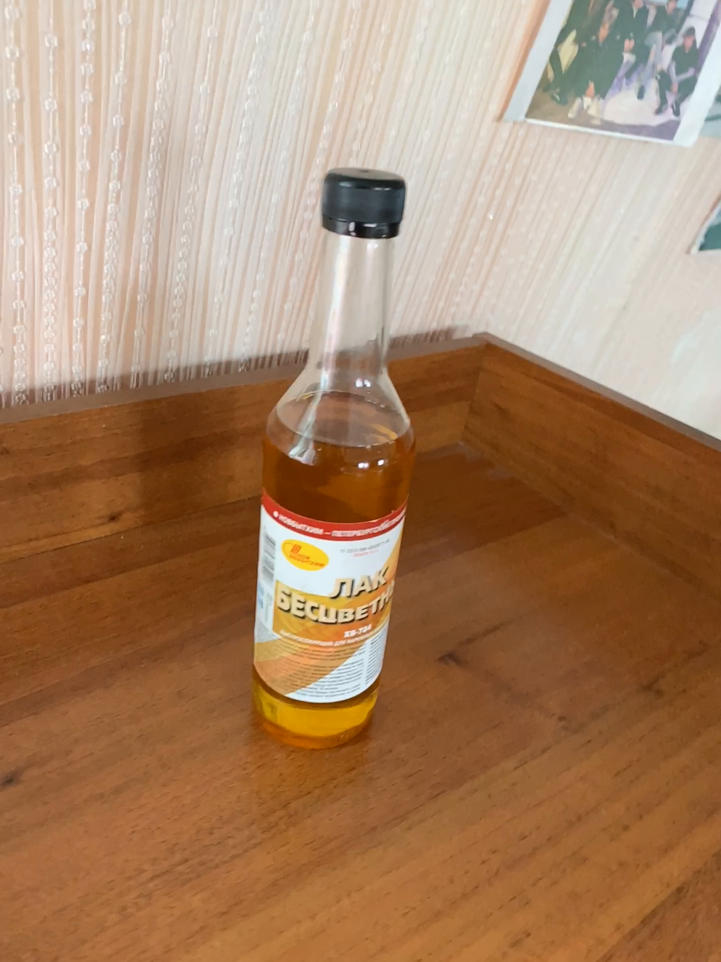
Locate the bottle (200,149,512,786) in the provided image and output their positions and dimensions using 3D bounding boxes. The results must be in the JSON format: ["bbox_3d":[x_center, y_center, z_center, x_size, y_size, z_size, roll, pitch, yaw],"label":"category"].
[{"bbox_3d":[-0.016,0.003,0.323,0.080,0.258,0.070,-11,33,-31],"label":"bottle"}]
